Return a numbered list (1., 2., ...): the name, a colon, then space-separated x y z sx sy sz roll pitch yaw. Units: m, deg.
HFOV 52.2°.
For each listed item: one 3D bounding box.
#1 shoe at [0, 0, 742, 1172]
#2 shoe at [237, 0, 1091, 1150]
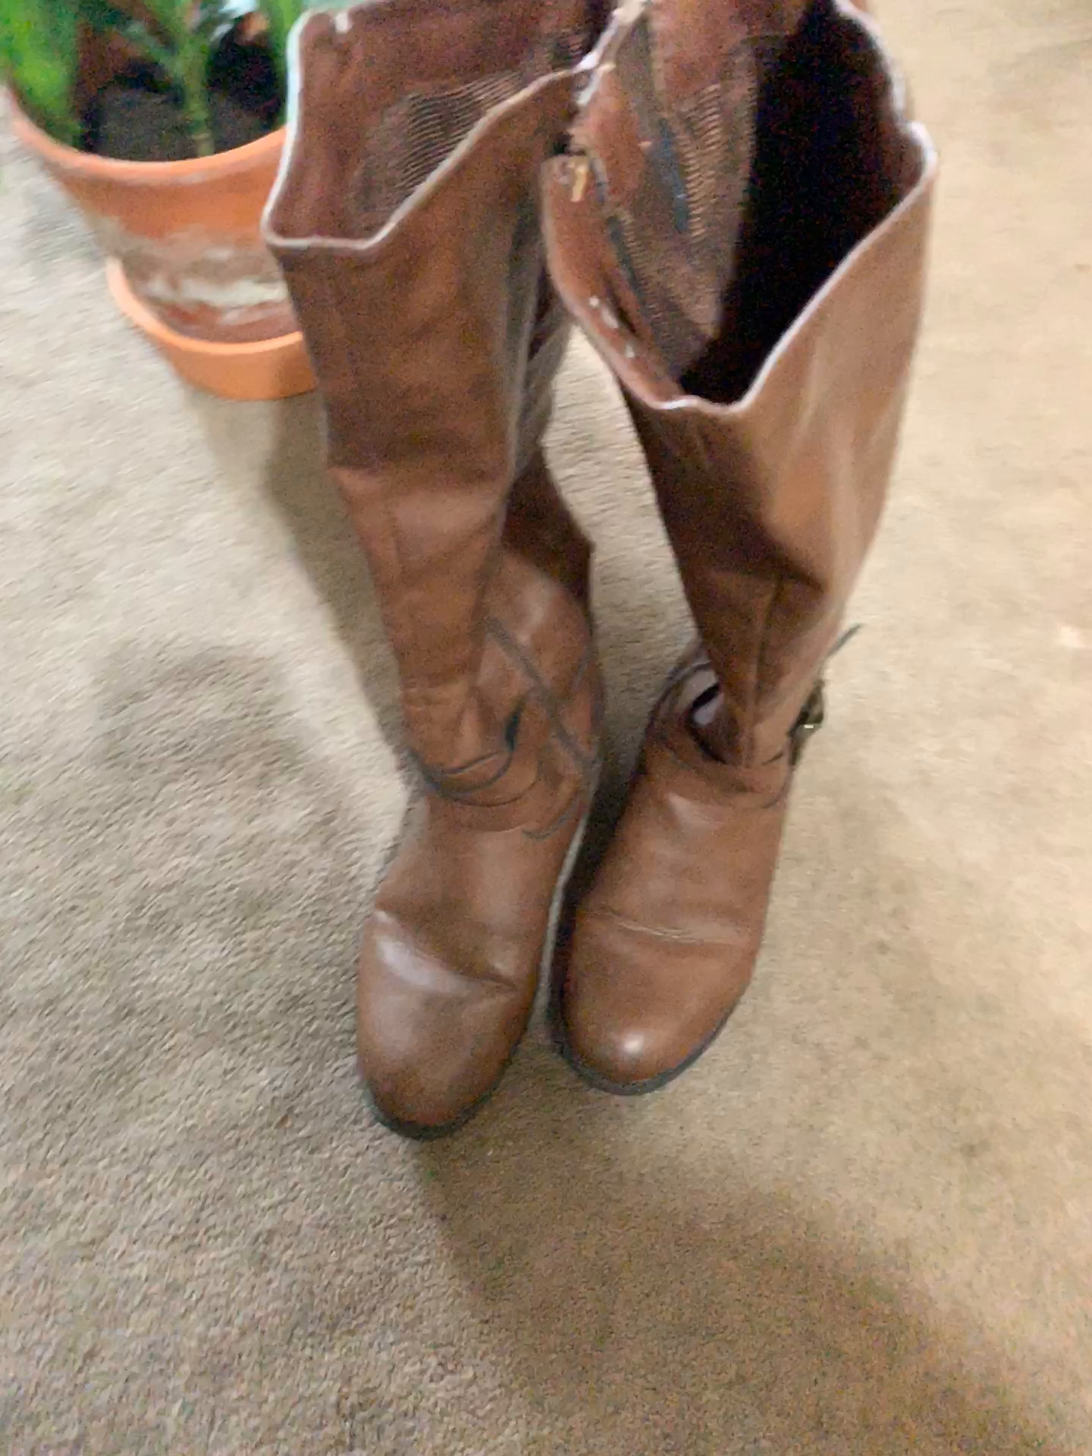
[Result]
1. shoe: -0.036 -0.010 0.381 0.110 0.368 0.261 13 66 8
2. shoe: 0.063 -0.020 0.405 0.120 0.398 0.271 20 67 11
